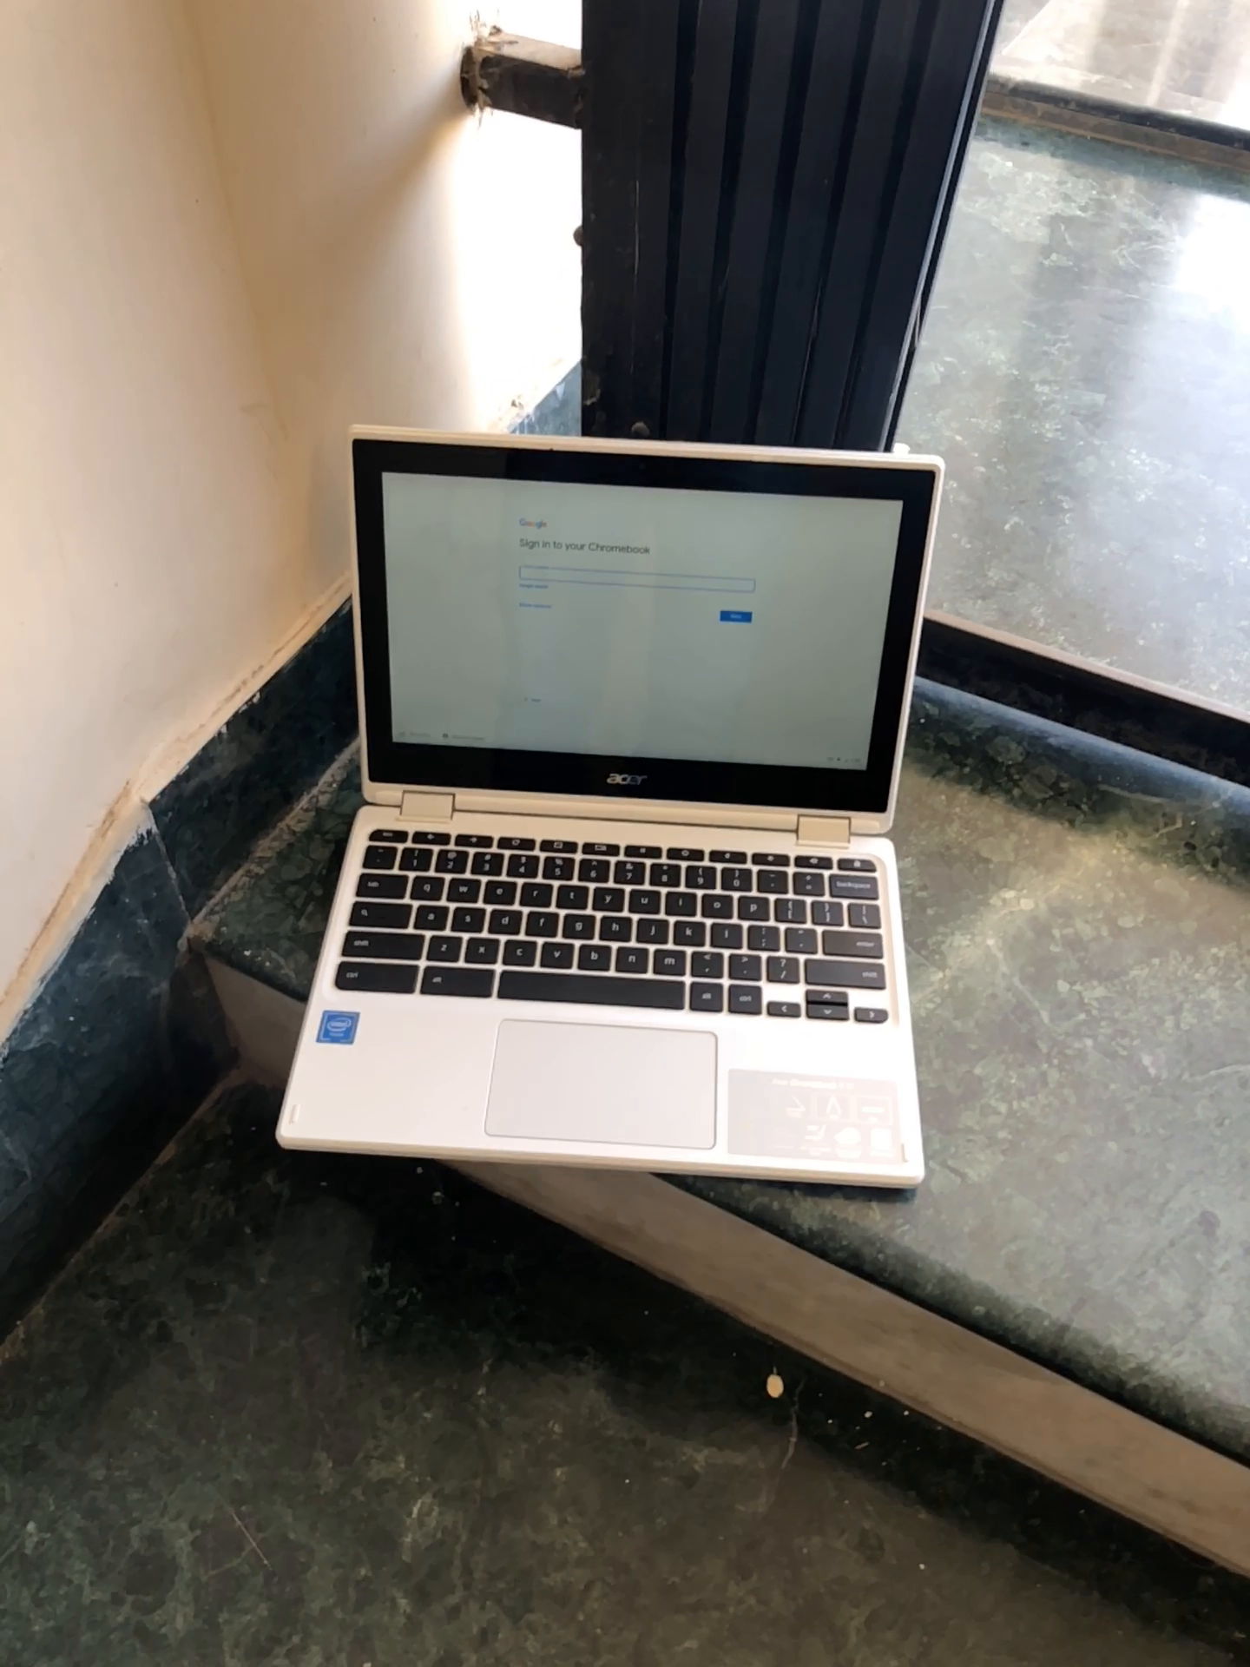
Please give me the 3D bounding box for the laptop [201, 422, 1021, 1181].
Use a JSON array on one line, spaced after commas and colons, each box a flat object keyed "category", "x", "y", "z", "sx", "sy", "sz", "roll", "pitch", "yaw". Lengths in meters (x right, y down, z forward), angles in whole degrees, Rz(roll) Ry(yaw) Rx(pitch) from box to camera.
[{"category": "laptop", "x": 0.001, "y": -0.021, "z": 0.619, "sx": 0.278, "sy": 0.178, "sz": 0.272, "roll": 4, "pitch": 48, "yaw": 1}]
